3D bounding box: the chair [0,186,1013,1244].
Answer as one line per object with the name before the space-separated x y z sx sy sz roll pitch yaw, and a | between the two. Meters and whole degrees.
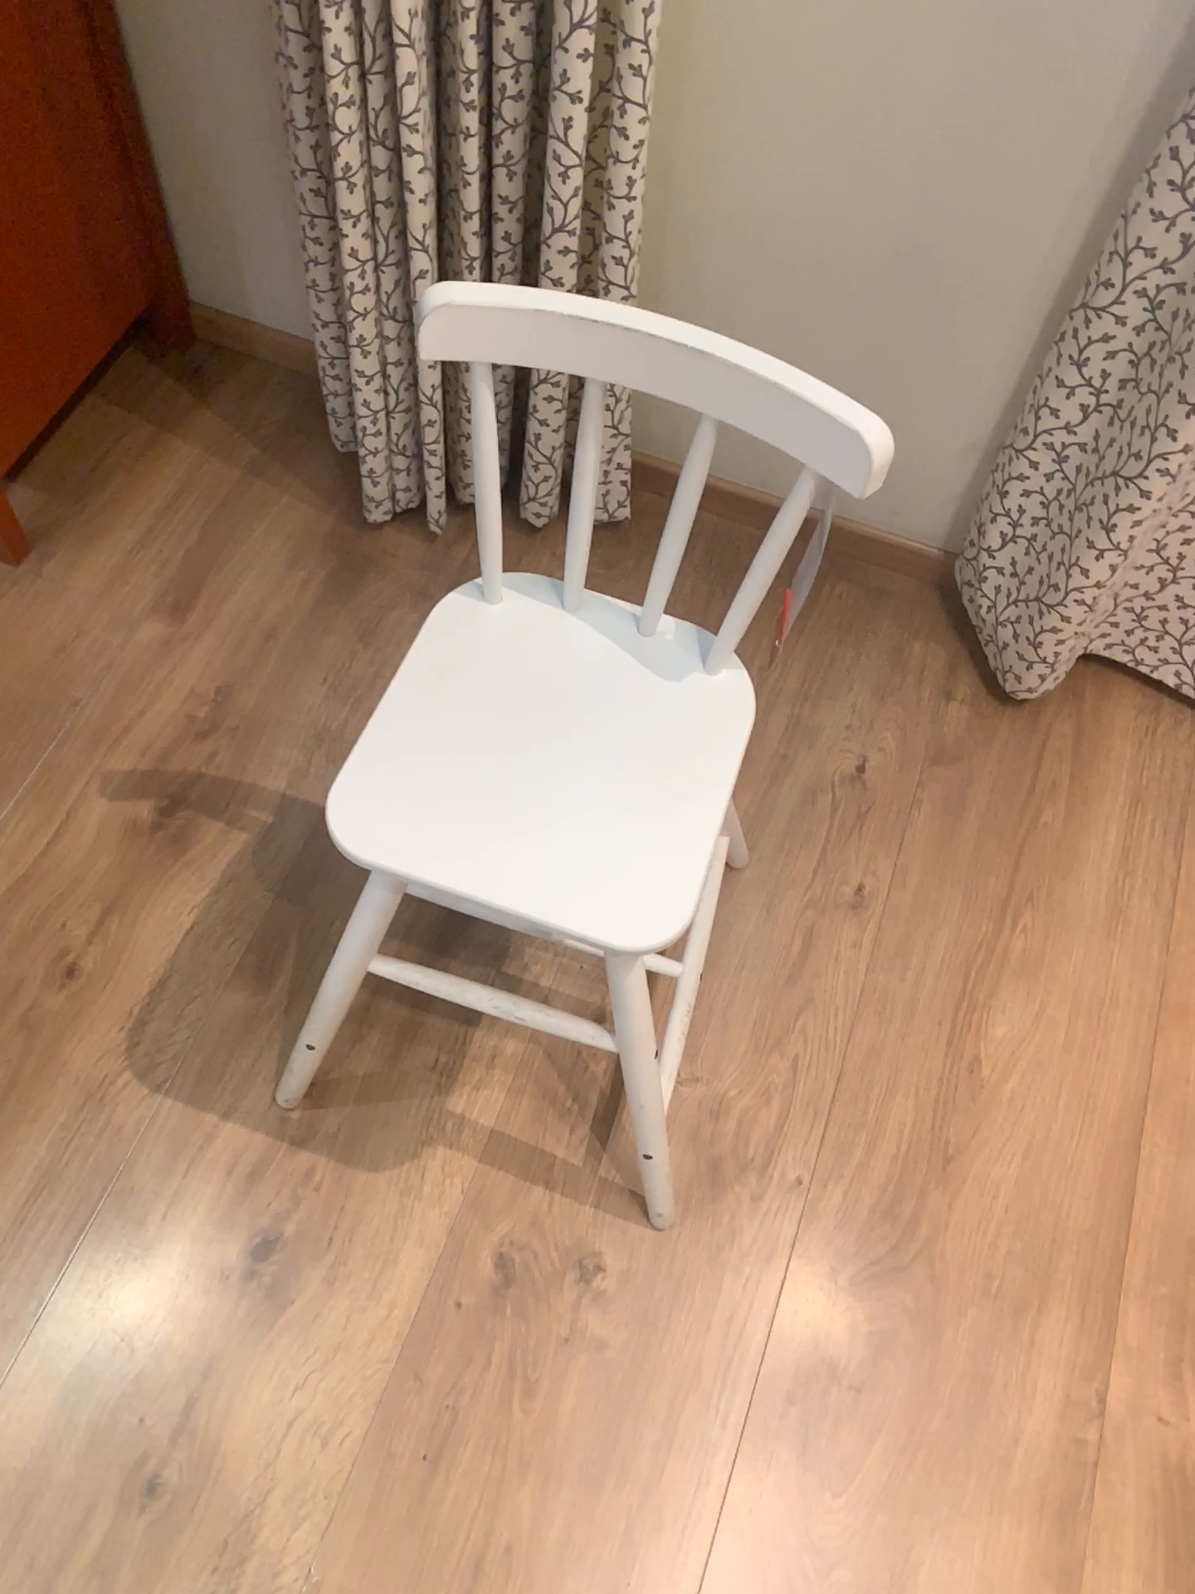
chair | -0.045 0.004 0.950 0.450 0.649 0.431 17 60 5
